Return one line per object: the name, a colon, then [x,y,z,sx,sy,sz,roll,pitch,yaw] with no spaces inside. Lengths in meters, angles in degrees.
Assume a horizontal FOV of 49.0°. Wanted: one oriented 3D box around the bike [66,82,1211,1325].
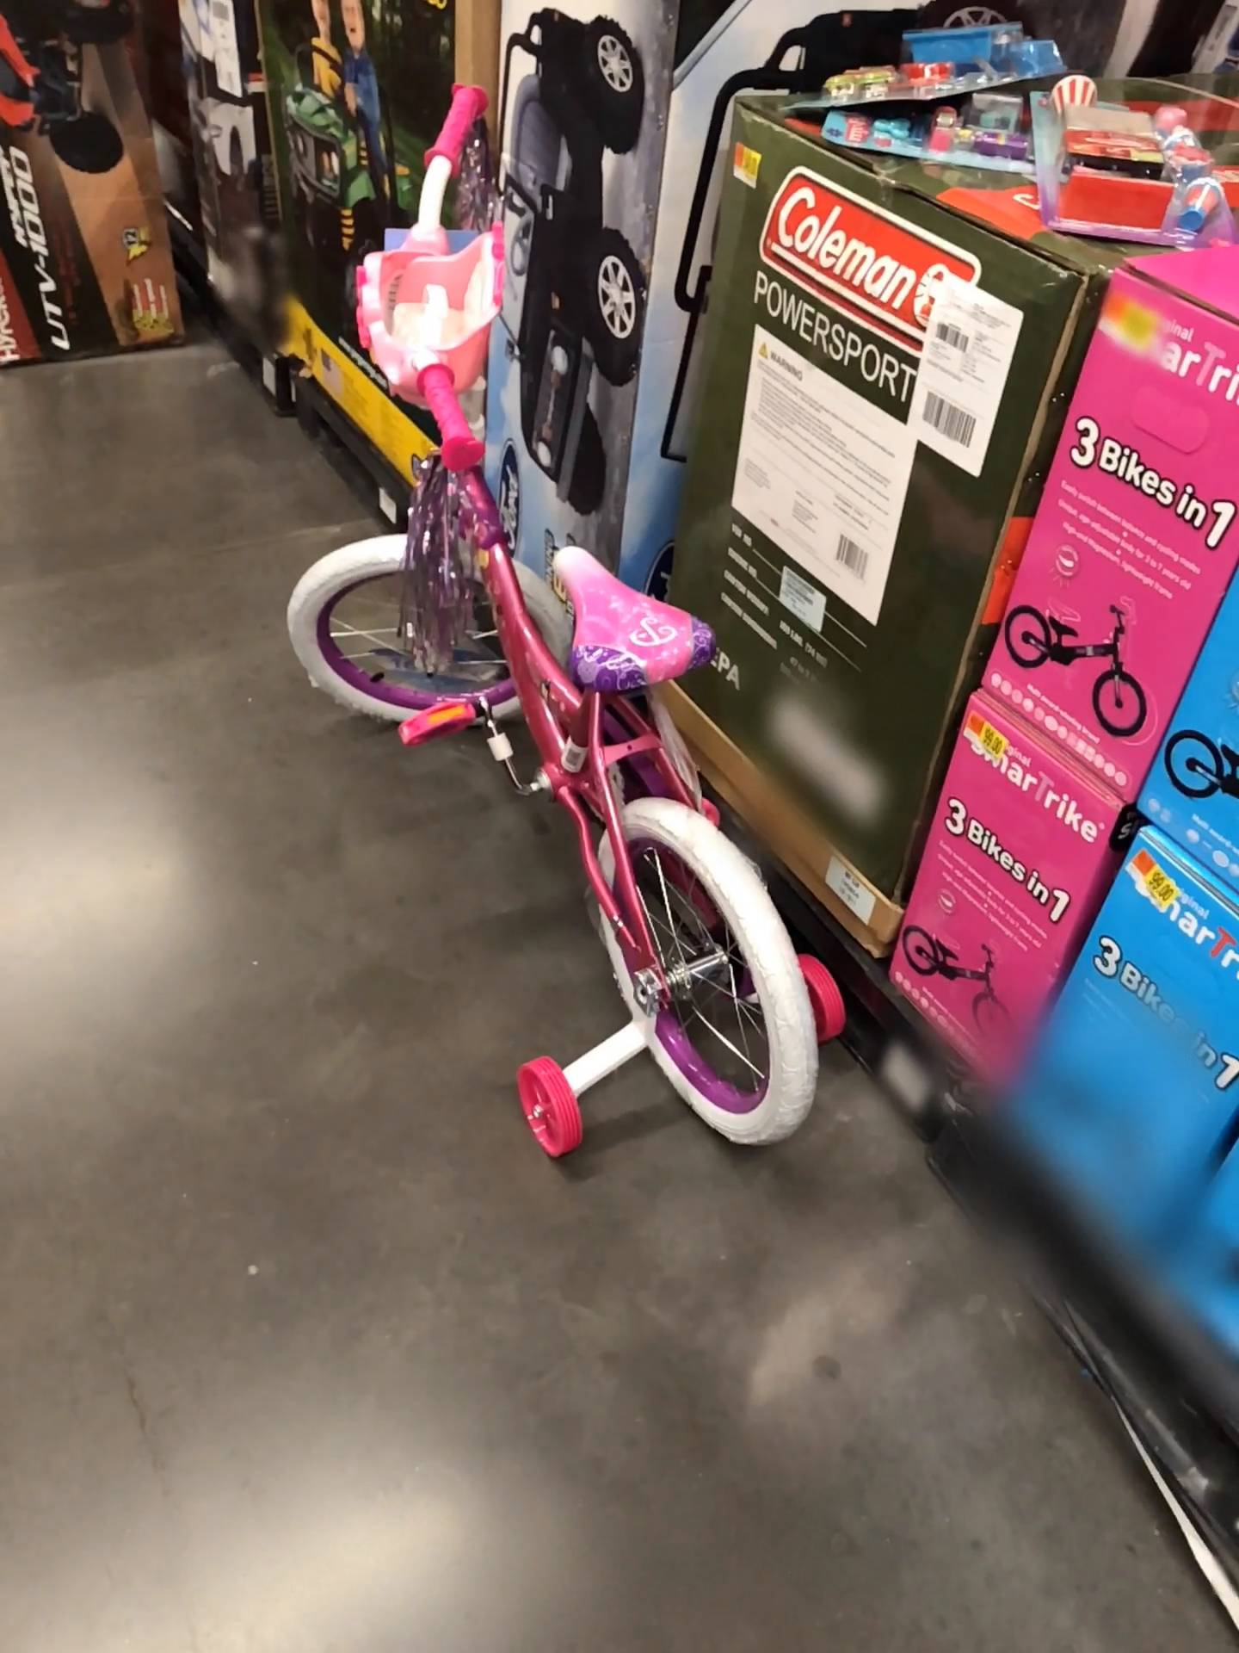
bike: [-0.079,-0.182,1.432,0.478,0.854,0.951,-26,50,-32]
